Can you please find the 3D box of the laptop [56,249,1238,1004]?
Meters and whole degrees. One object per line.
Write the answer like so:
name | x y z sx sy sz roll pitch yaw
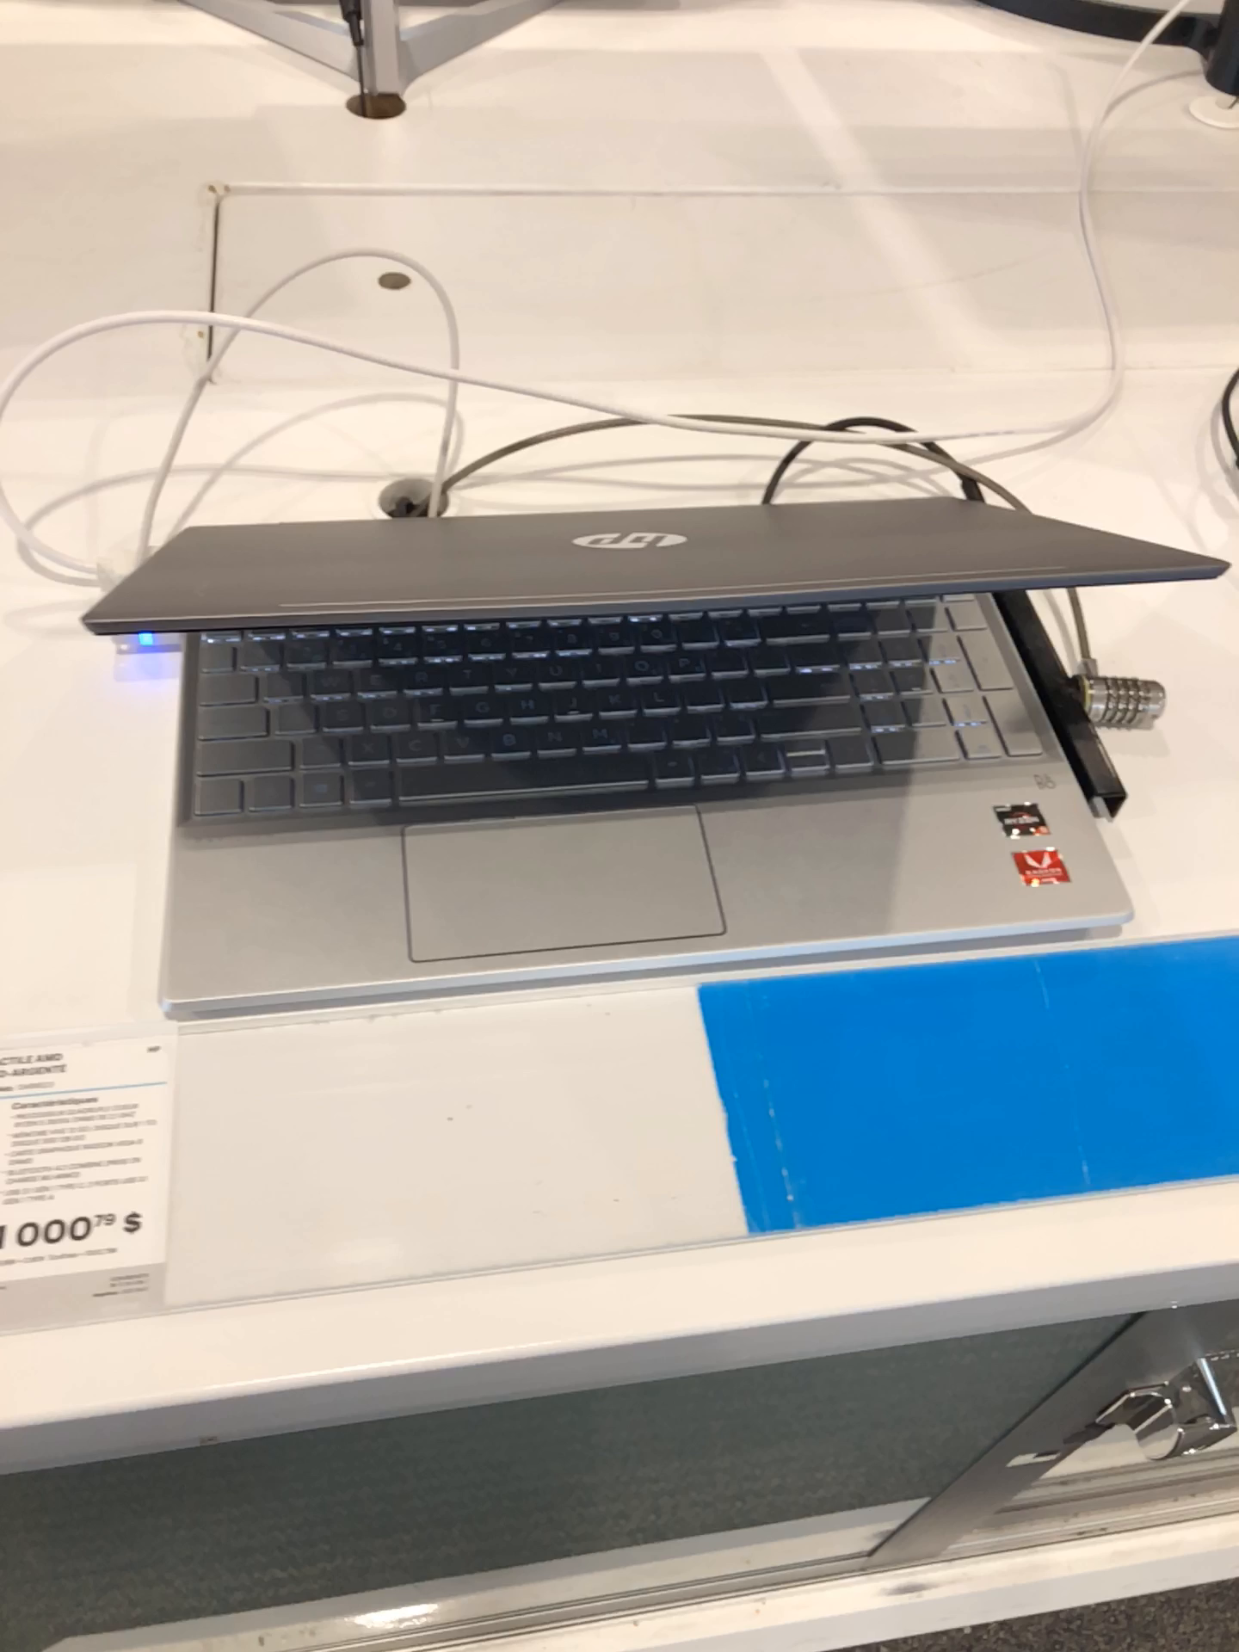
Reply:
laptop | 0.006 -0.084 0.500 0.350 0.134 0.231 -4 53 -8
